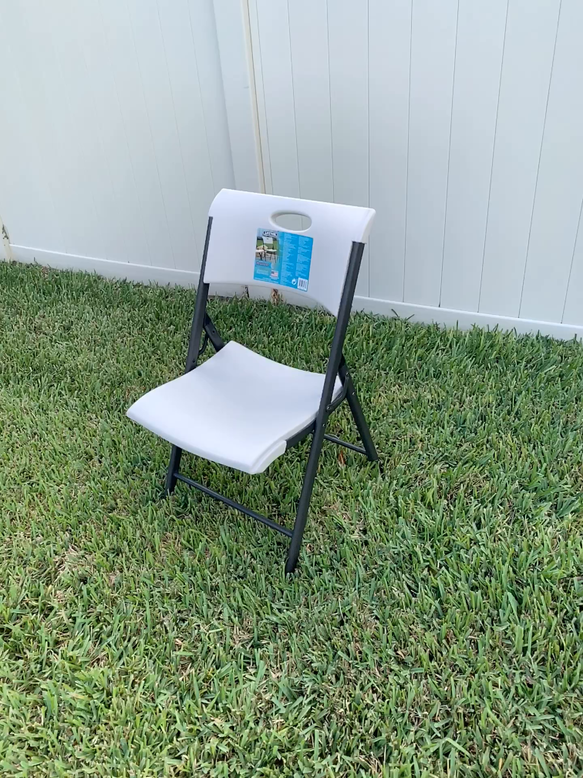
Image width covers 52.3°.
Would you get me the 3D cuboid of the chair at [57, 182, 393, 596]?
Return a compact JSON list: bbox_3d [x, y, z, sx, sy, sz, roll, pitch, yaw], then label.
[{"bbox_3d":[-0.111,-0.042,1.482,0.520,0.766,0.517,18,37,33],"label":"chair"}]
